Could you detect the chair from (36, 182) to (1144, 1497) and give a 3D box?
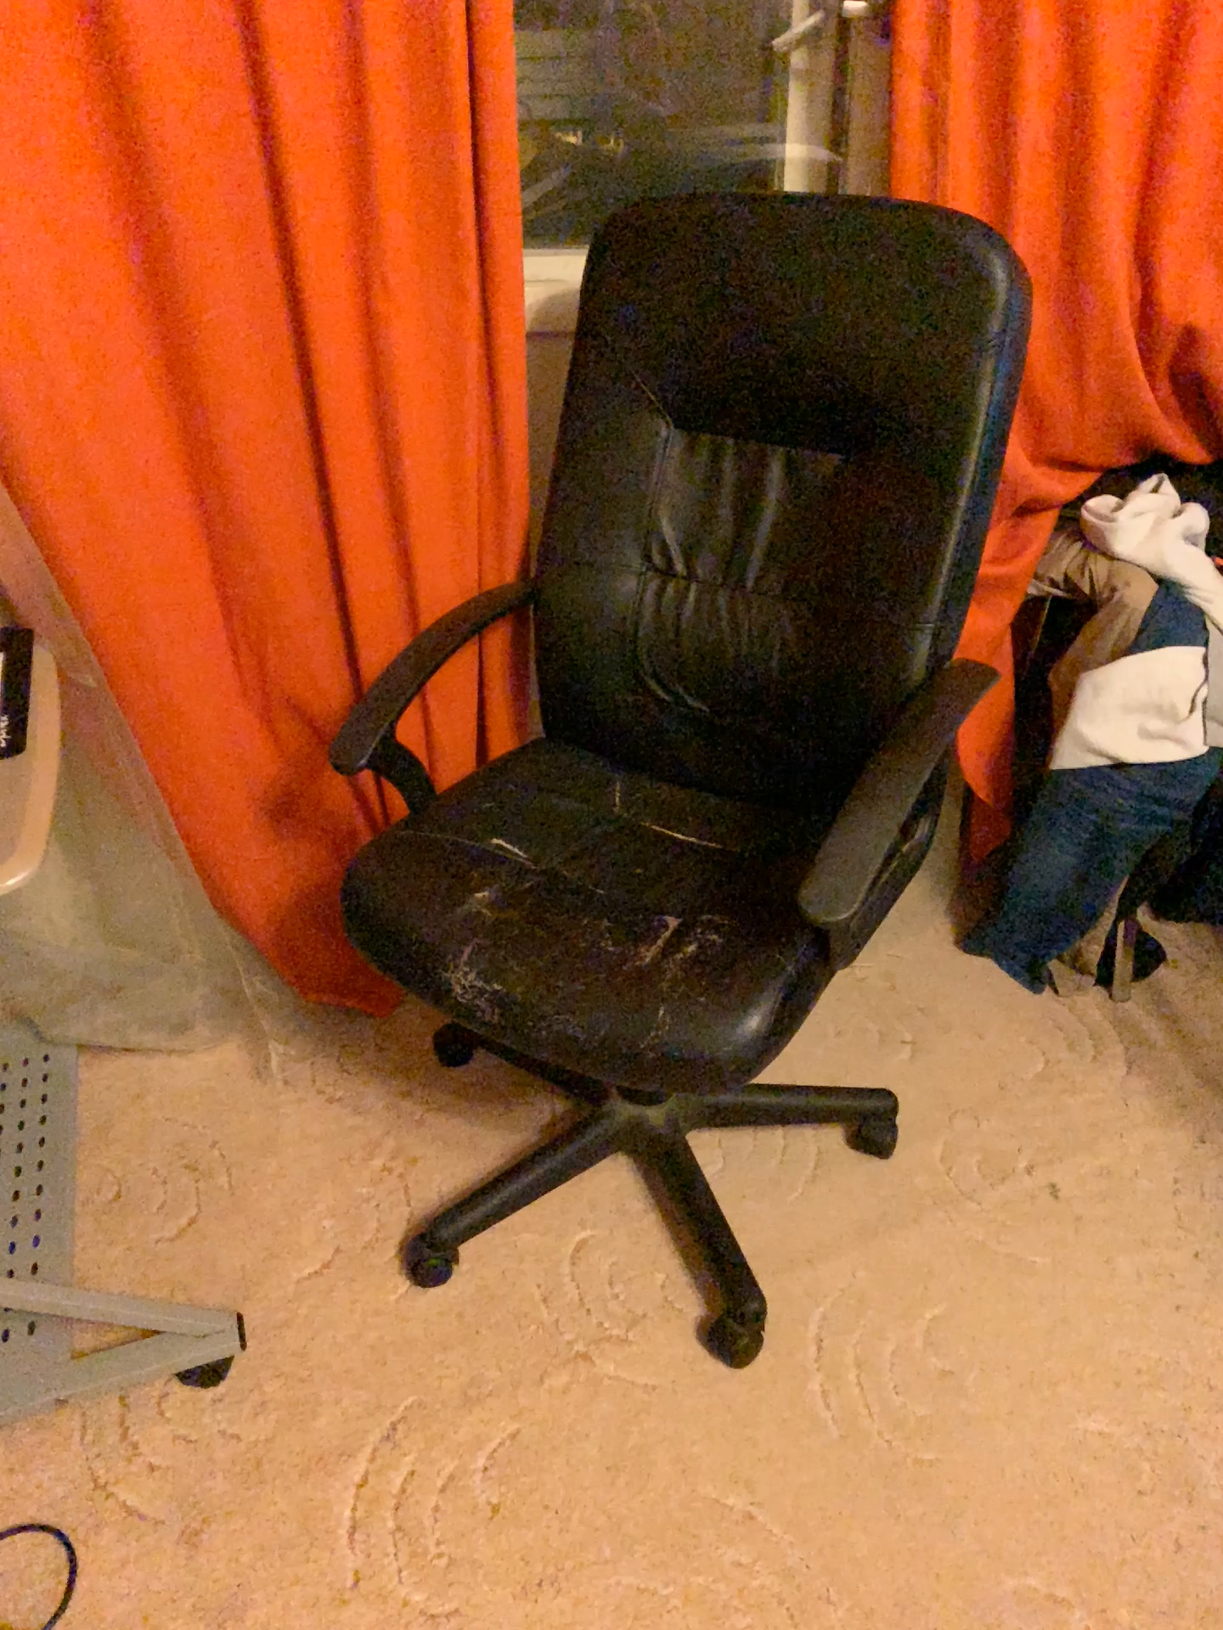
[{"bbox_3d":[0.040,-0.040,1.414,0.711,1.124,0.744,17,36,26],"label":"chair"}]
